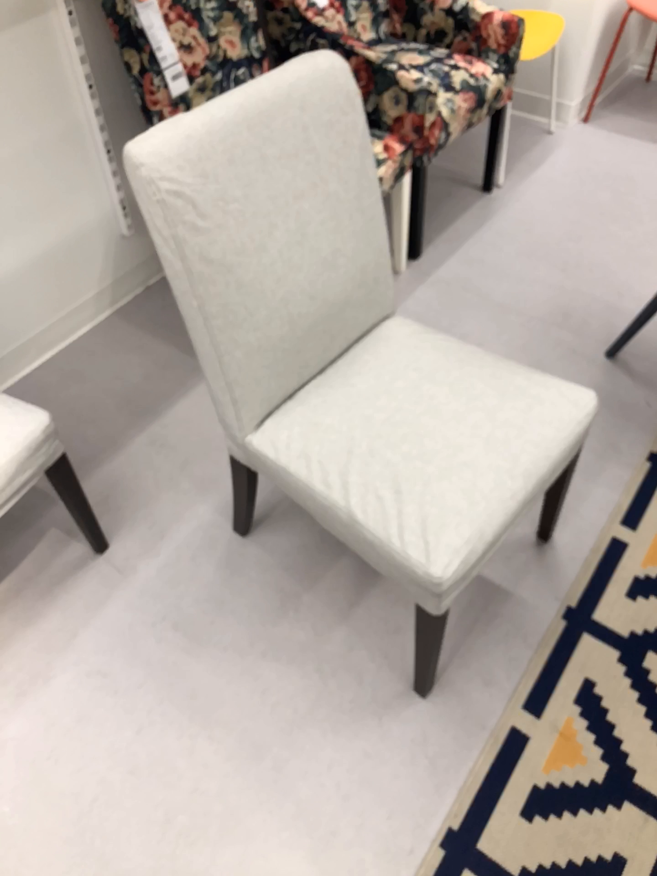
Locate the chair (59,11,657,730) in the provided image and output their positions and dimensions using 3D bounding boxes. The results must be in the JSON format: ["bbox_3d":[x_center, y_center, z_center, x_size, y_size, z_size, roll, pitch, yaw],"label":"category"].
[{"bbox_3d":[0.106,-0.095,1.215,0.642,0.855,0.561,31,56,26],"label":"chair"}]
